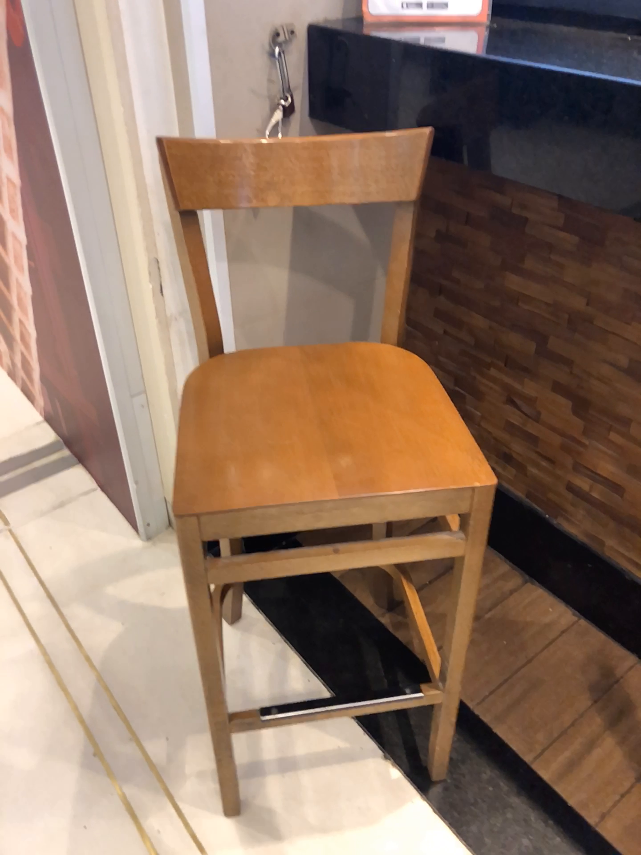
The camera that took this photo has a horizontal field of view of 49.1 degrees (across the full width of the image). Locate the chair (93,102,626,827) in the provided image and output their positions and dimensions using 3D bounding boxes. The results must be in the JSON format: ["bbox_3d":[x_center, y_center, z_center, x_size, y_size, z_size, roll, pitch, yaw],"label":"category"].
[{"bbox_3d":[-0.001,0.085,1.121,0.480,0.992,0.534,-6,37,-9],"label":"chair"}]
